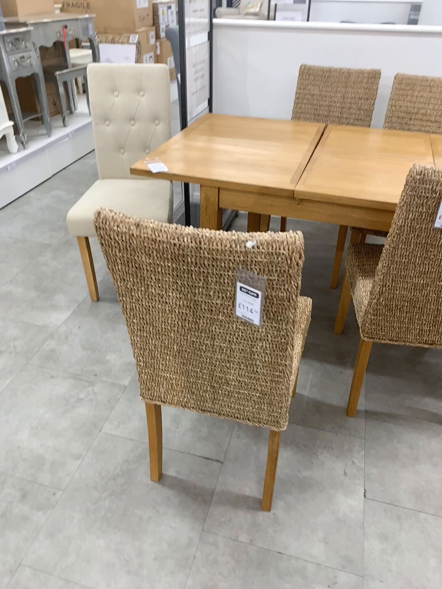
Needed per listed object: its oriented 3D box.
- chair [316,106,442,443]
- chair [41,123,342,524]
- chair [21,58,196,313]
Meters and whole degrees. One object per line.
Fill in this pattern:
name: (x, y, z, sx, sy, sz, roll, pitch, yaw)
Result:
chair: (0.634, -0.073, 1.451, 0.525, 0.870, 0.570, 6, 35, 7)
chair: (-0.012, 0.058, 1.237, 0.505, 0.840, 0.579, 10, 36, 13)
chair: (-0.385, -0.495, 1.941, 0.424, 0.840, 0.731, 4, 35, 5)
